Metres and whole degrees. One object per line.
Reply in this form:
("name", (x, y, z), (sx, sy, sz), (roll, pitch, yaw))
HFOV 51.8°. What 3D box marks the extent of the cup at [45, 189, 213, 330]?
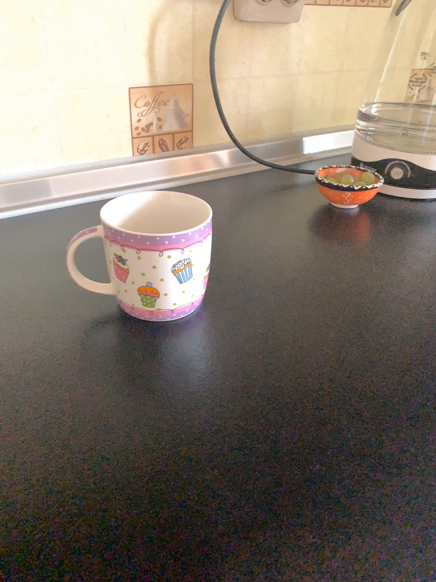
("cup", (-0.065, -0.028, 0.354), (0.110, 0.080, 0.080), (-2, 32, -7))
